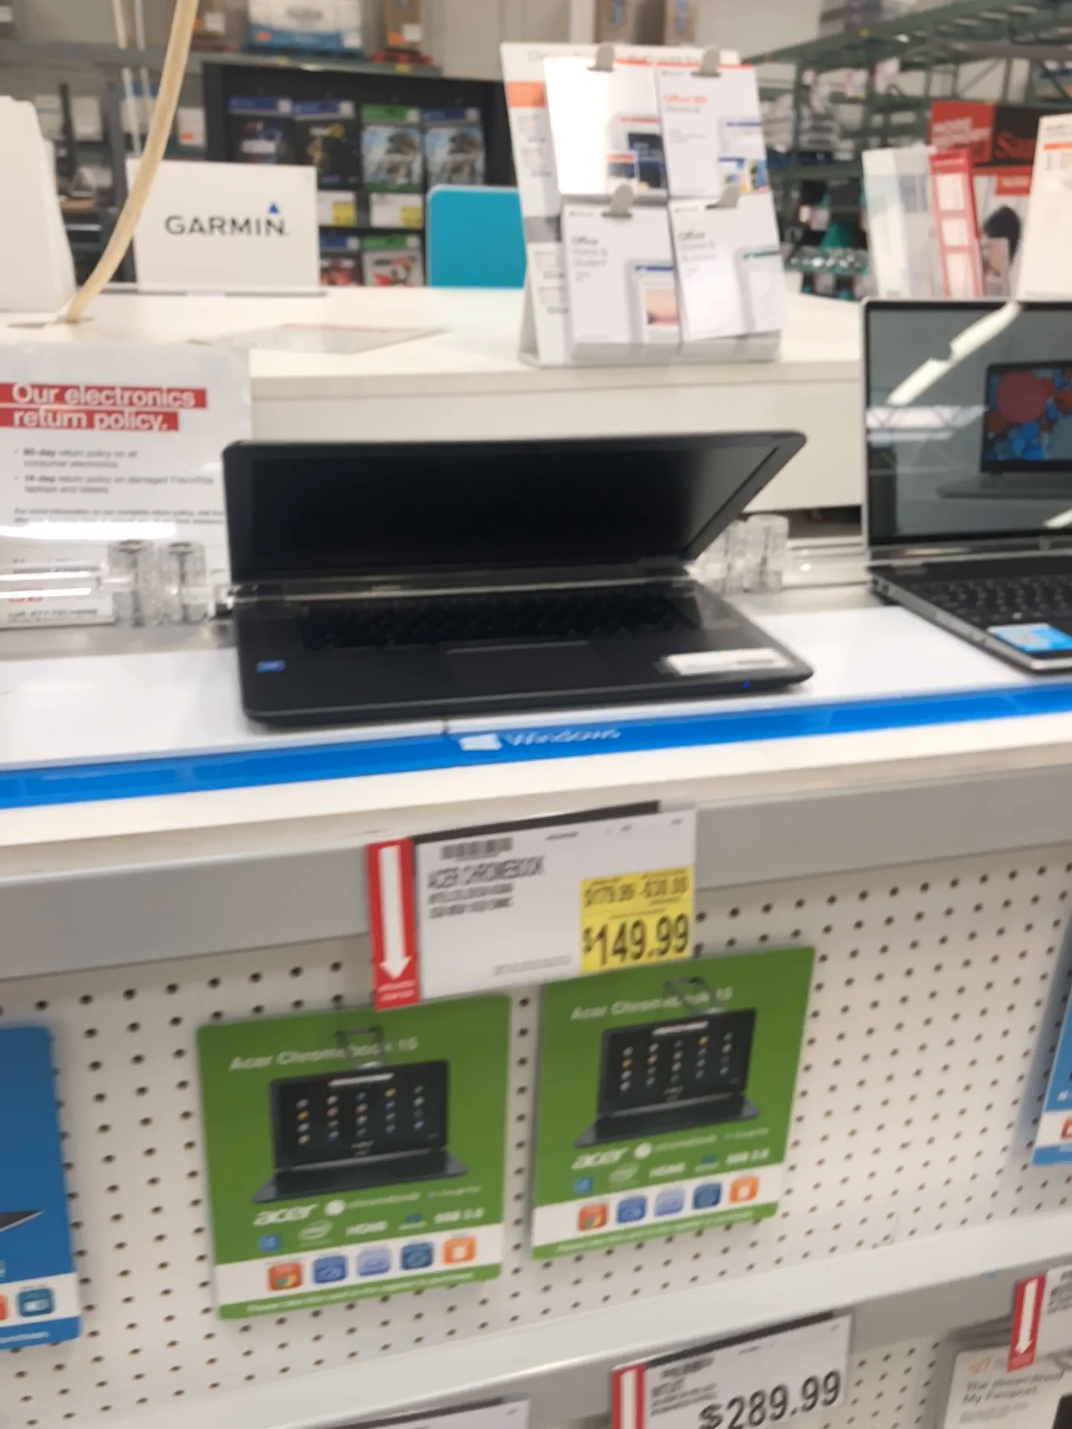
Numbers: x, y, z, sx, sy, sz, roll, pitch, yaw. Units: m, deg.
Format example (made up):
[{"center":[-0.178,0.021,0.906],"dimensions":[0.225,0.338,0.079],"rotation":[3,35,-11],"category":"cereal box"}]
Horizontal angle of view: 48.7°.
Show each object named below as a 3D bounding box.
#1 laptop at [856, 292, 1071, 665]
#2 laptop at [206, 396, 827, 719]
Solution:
[{"center":[0.468,-0.204,0.930],"dimensions":[0.317,0.208,0.292],"rotation":[-5,23,-9],"category":"laptop"},{"center":[-0.029,-0.121,0.797],"dimensions":[0.364,0.136,0.220],"rotation":[-5,25,-13],"category":"laptop"}]
